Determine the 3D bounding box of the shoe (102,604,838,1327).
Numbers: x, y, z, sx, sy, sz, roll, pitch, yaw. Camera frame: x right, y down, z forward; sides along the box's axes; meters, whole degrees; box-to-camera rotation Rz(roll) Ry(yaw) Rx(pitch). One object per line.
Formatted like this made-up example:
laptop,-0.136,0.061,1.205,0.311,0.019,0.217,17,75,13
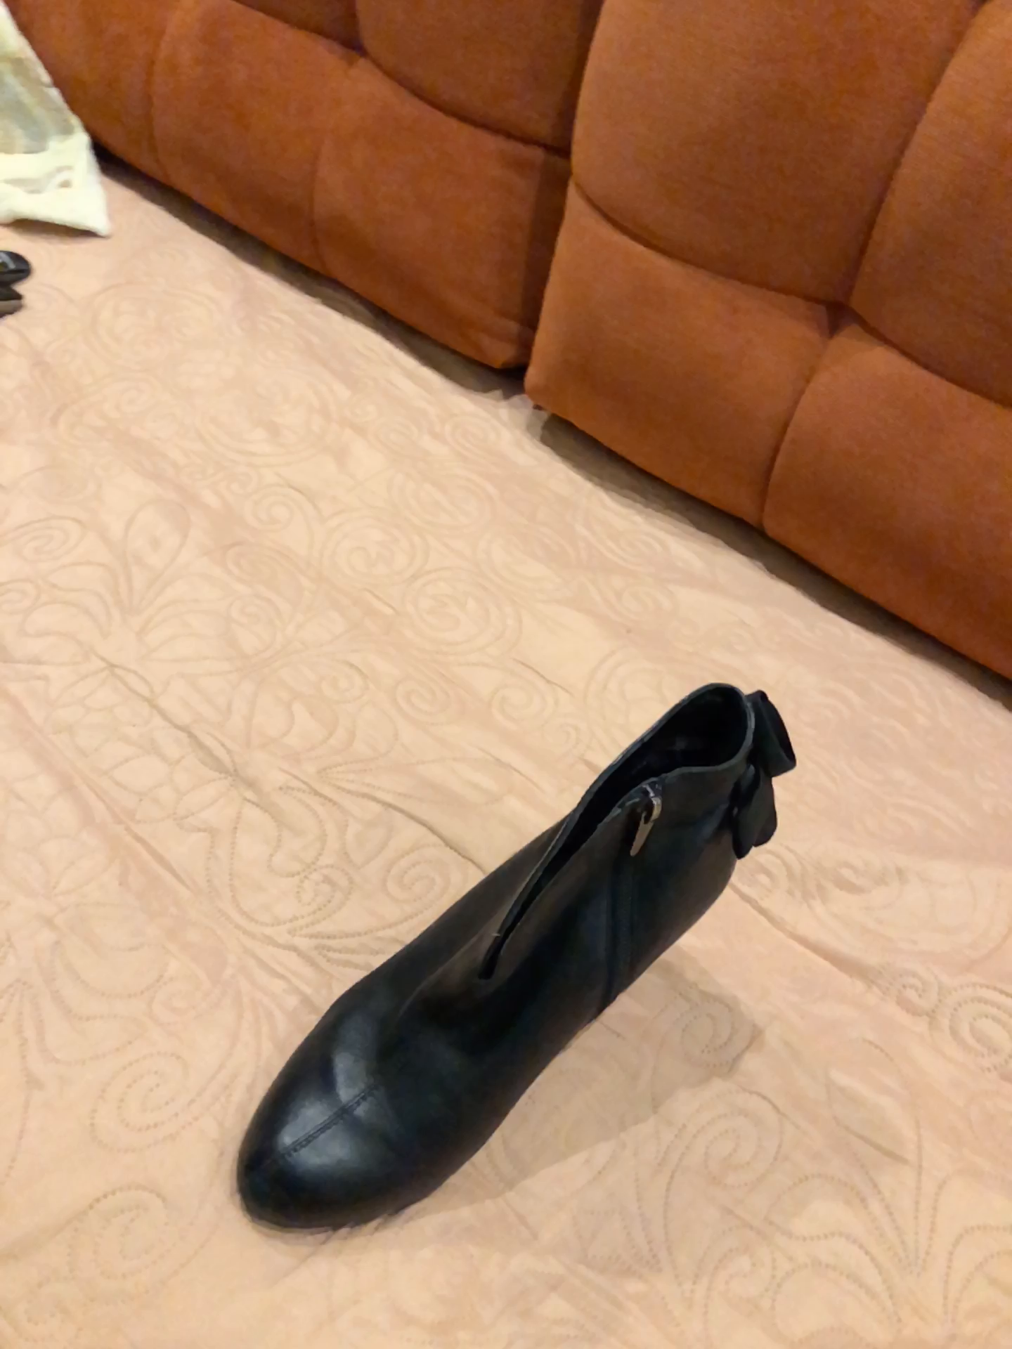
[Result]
shoe,-0.011,0.103,0.412,0.221,0.169,0.096,-26,56,-29
